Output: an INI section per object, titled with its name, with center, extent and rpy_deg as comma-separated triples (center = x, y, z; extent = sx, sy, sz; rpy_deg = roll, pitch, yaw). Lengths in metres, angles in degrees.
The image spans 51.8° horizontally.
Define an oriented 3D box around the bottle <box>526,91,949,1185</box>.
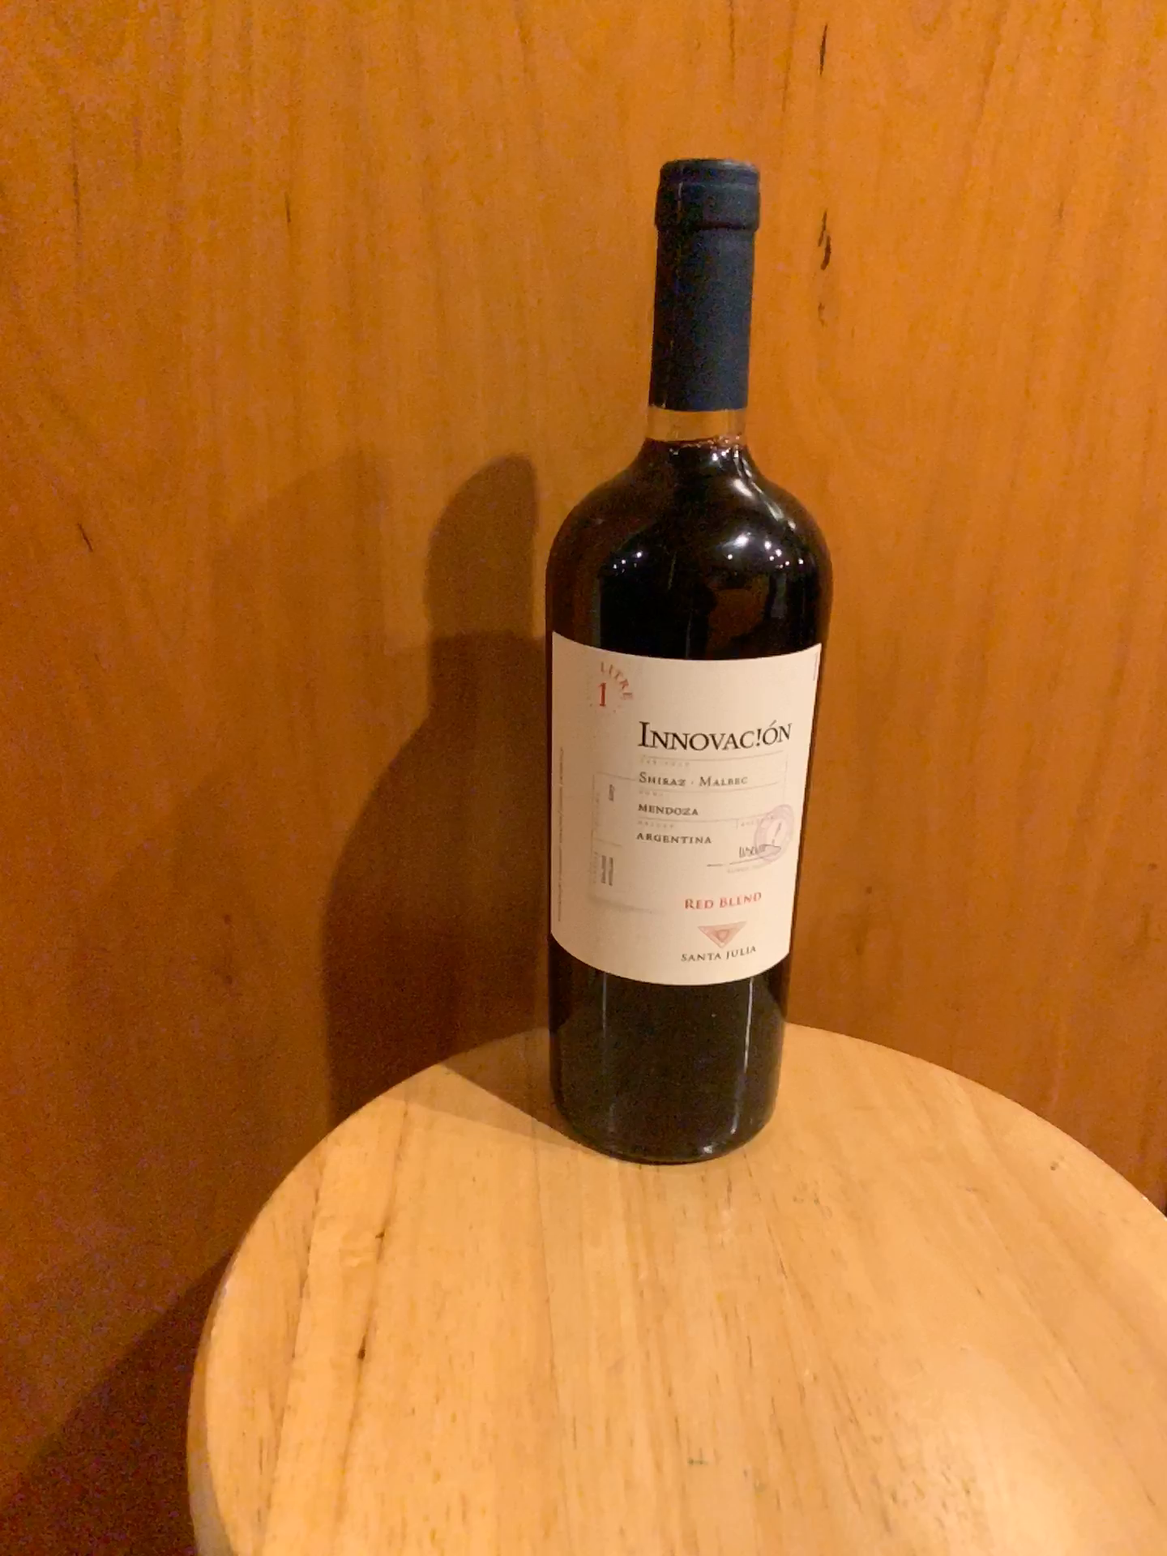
[bottle]
center = 0.032, -0.029, 0.363
extent = 0.090, 0.299, 0.080
rpy_deg = -1, 21, -7
